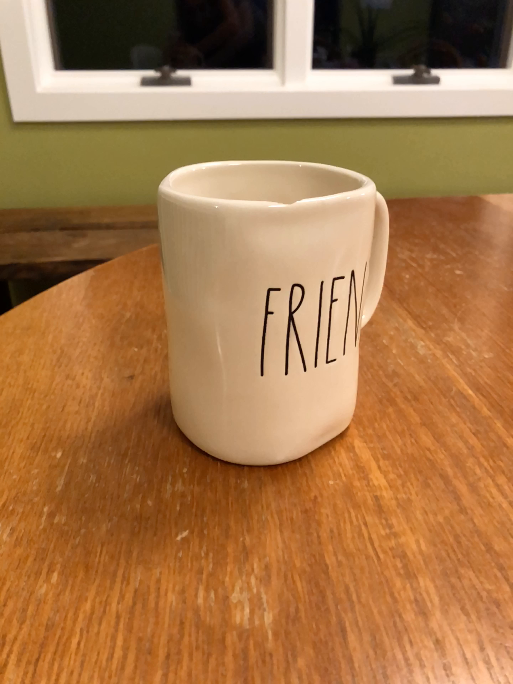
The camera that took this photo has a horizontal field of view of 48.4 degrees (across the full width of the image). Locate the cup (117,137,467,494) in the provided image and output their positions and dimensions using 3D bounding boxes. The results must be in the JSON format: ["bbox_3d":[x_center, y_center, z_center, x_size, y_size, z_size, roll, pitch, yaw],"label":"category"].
[{"bbox_3d":[0.018,-0.025,0.264,0.125,0.114,0.084,-23,35,-38],"label":"cup"}]
